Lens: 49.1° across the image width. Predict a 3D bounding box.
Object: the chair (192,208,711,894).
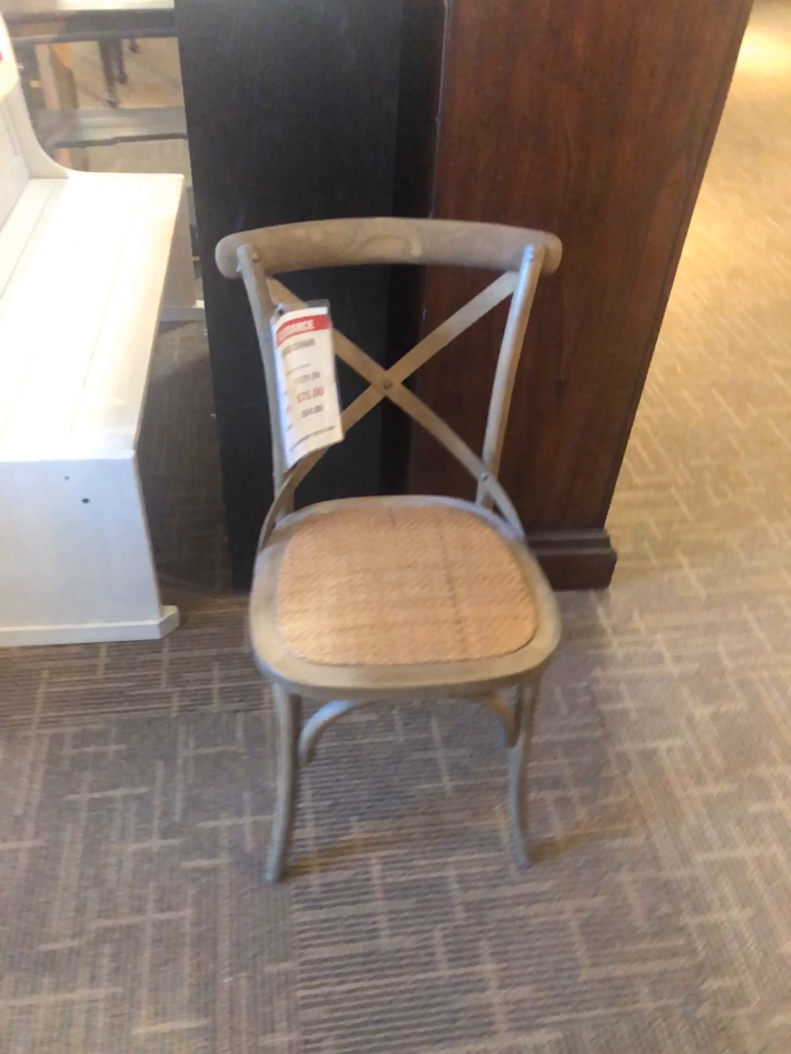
[{"bbox_3d":[0.010,0.062,1.285,0.490,0.861,0.532,-1,41,-6],"label":"chair"}]
